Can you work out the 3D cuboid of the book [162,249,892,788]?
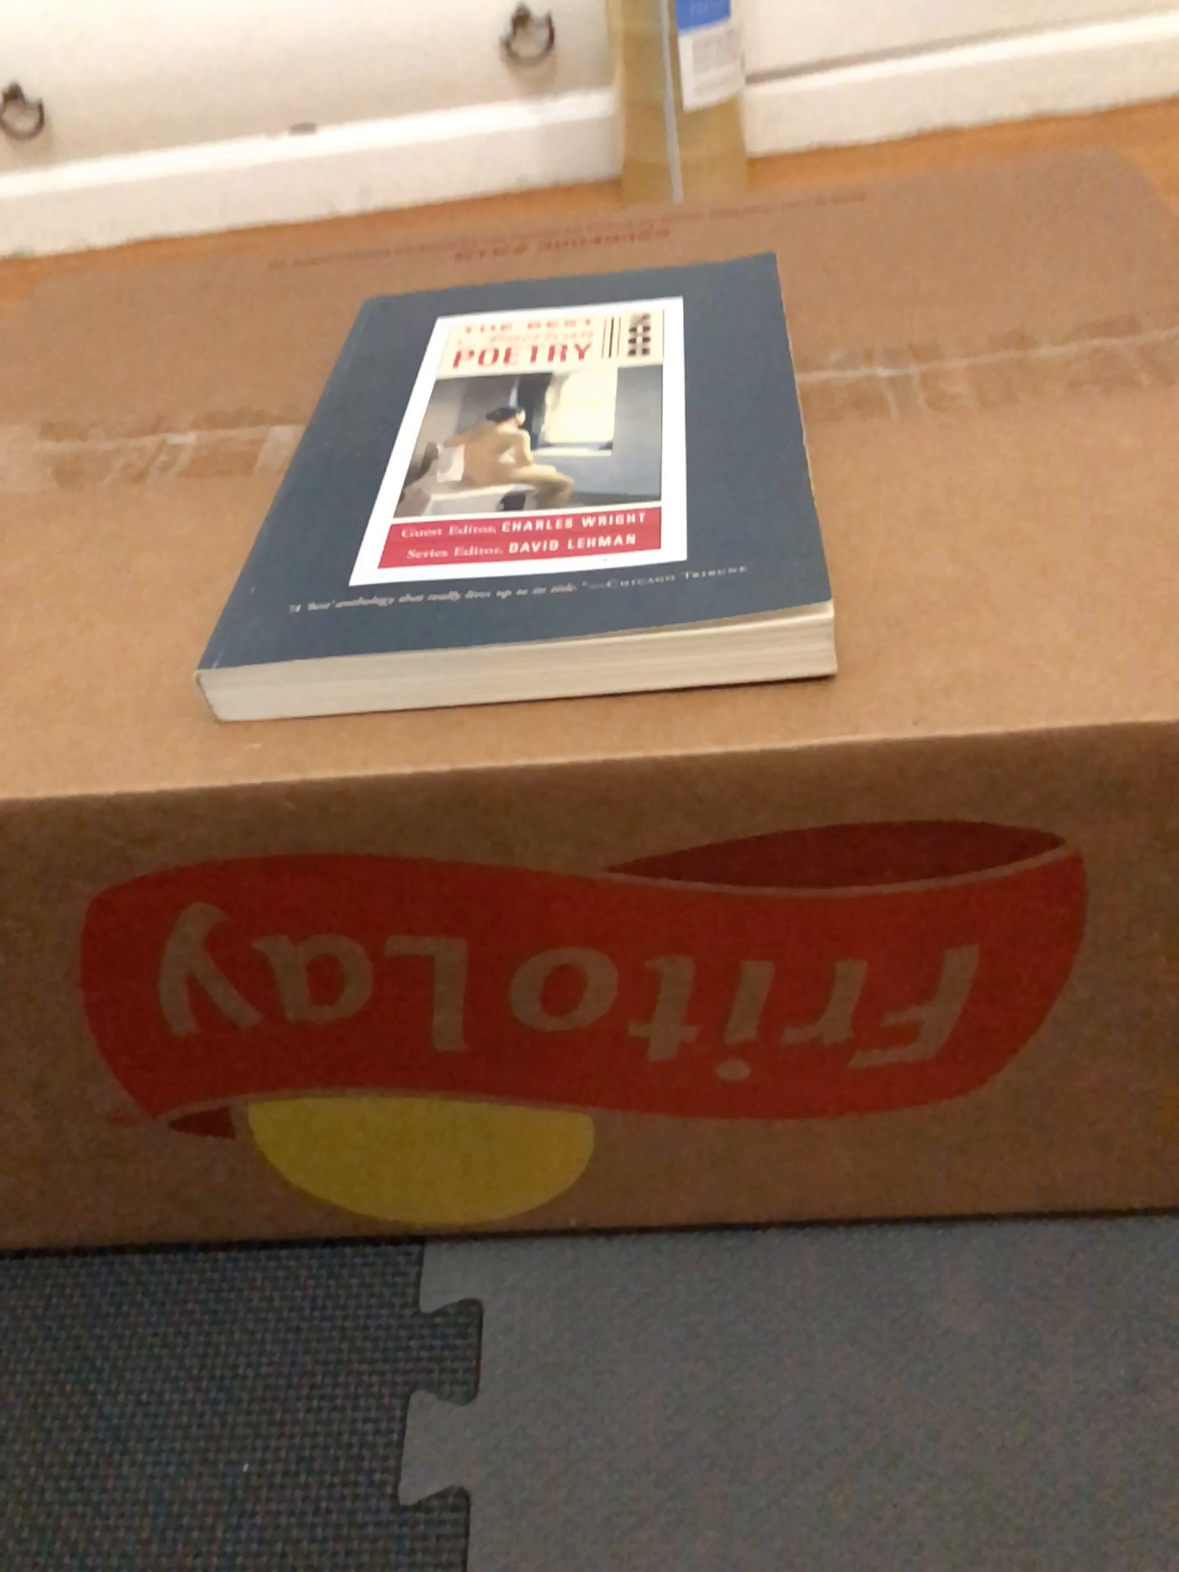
[{"bbox_3d":[-0.010,-0.089,0.357,0.150,0.020,0.231,-5,40,6],"label":"book"}]
